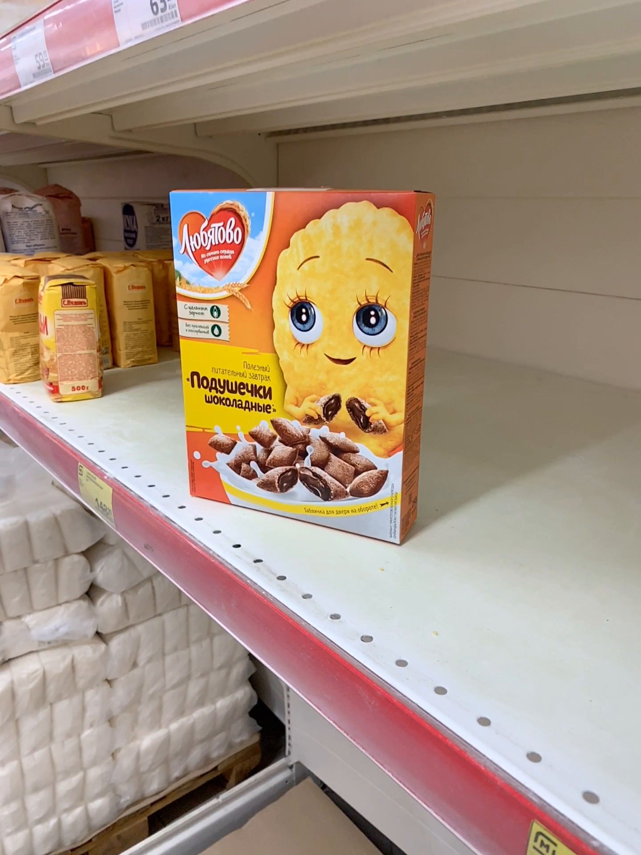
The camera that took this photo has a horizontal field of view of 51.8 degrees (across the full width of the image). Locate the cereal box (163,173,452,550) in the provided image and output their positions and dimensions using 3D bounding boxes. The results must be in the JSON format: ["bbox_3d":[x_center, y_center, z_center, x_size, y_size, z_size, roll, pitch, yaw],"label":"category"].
[{"bbox_3d":[-0.012,-0.049,0.452,0.180,0.229,0.050,9,20,25],"label":"cereal box"}]
